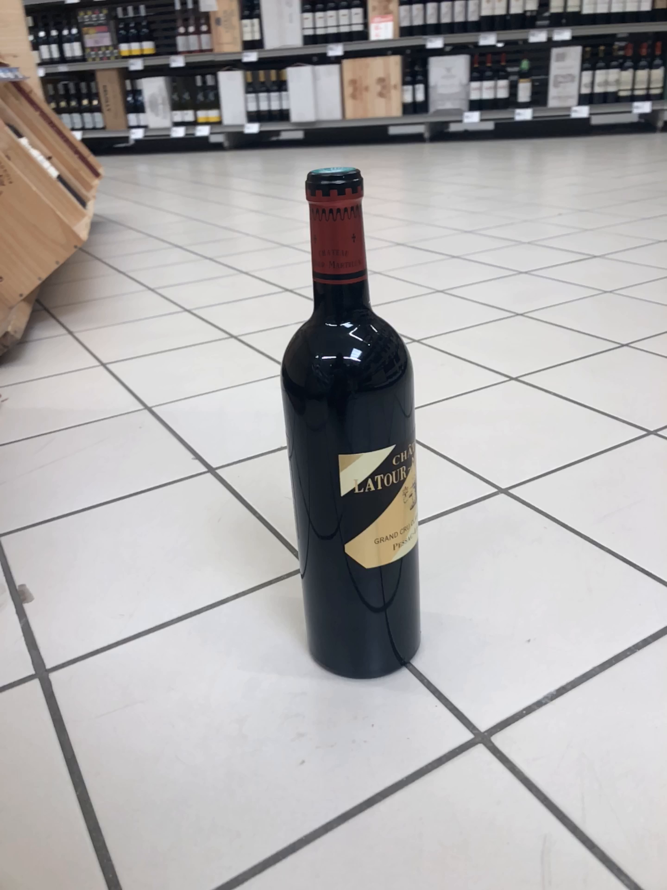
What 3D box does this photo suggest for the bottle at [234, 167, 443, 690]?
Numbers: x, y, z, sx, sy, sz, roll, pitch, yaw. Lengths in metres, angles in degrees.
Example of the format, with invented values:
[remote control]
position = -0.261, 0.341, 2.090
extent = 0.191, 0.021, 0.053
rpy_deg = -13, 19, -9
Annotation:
[bottle]
position = 0.014, -0.004, 0.417
extent = 0.080, 0.278, 0.081
rpy_deg = -3, 25, 1
